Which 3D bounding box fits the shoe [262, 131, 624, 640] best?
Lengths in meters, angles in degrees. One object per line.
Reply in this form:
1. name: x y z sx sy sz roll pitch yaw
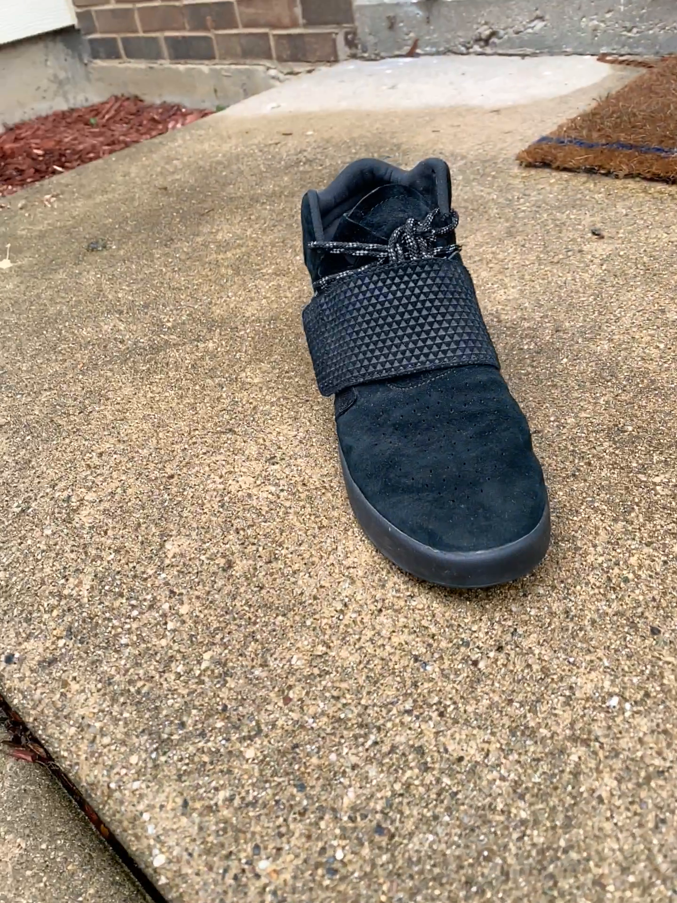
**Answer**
1. shoe: 0.035 -0.065 0.404 0.119 0.141 0.292 -11 38 0
